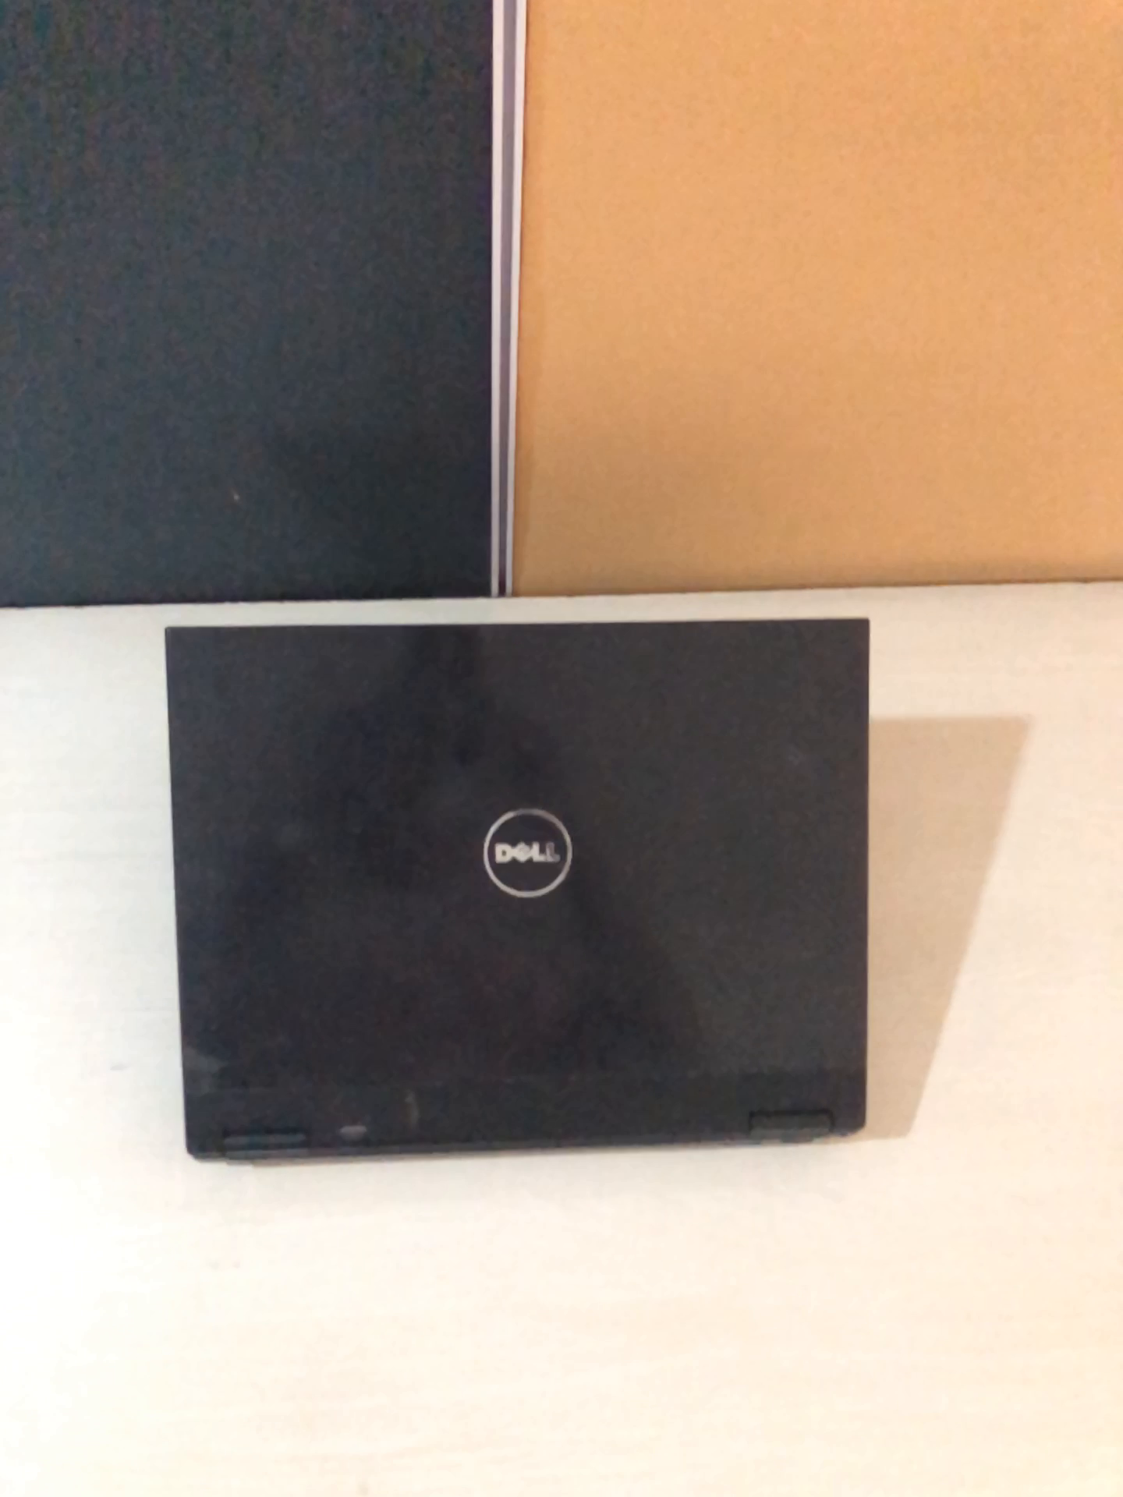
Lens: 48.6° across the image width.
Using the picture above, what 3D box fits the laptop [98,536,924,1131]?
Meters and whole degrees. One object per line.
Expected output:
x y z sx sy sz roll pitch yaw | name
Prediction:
-0.024 0.038 0.560 0.302 0.126 0.225 -1 64 -3 | laptop
